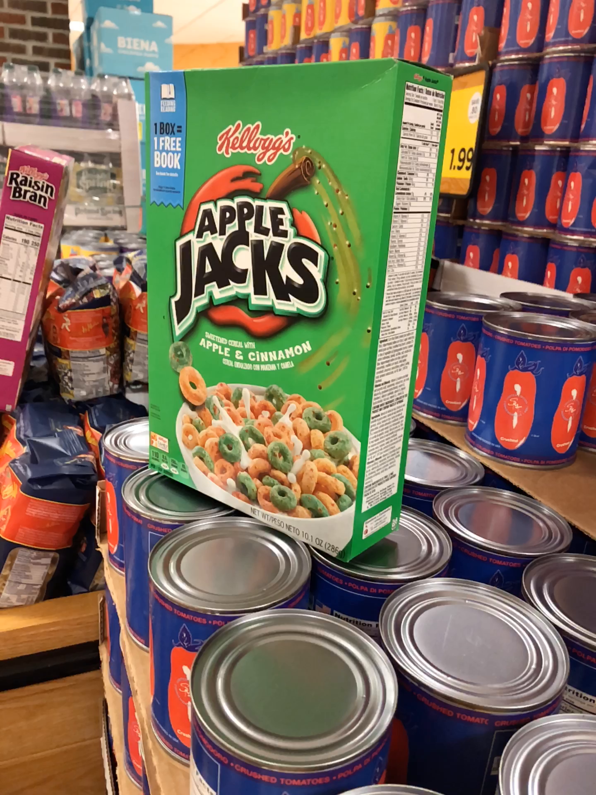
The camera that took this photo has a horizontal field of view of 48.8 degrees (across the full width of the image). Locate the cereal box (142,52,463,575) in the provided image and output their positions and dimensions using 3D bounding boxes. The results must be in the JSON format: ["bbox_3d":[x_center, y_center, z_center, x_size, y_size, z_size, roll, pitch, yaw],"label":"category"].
[{"bbox_3d":[-0.015,-0.060,0.439,0.200,0.288,0.060,18,23,36],"label":"cereal box"}]
